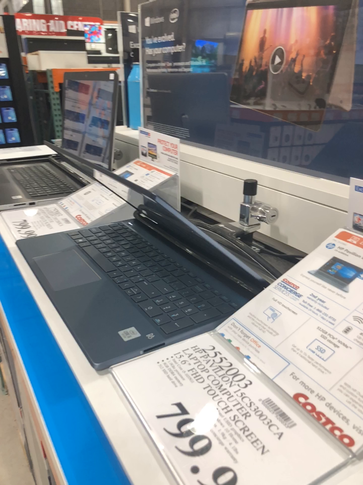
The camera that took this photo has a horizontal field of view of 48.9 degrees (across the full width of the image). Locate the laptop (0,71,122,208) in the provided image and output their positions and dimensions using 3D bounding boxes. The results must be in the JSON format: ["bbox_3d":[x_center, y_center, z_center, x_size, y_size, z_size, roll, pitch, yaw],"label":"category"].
[{"bbox_3d":[-0.339,-0.265,0.915,0.287,0.227,0.344,-15,27,-30],"label":"laptop"}]

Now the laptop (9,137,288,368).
[{"bbox_3d":[-0.069,-0.034,0.526,0.217,0.149,0.348,-13,25,-28],"label":"laptop"}]
